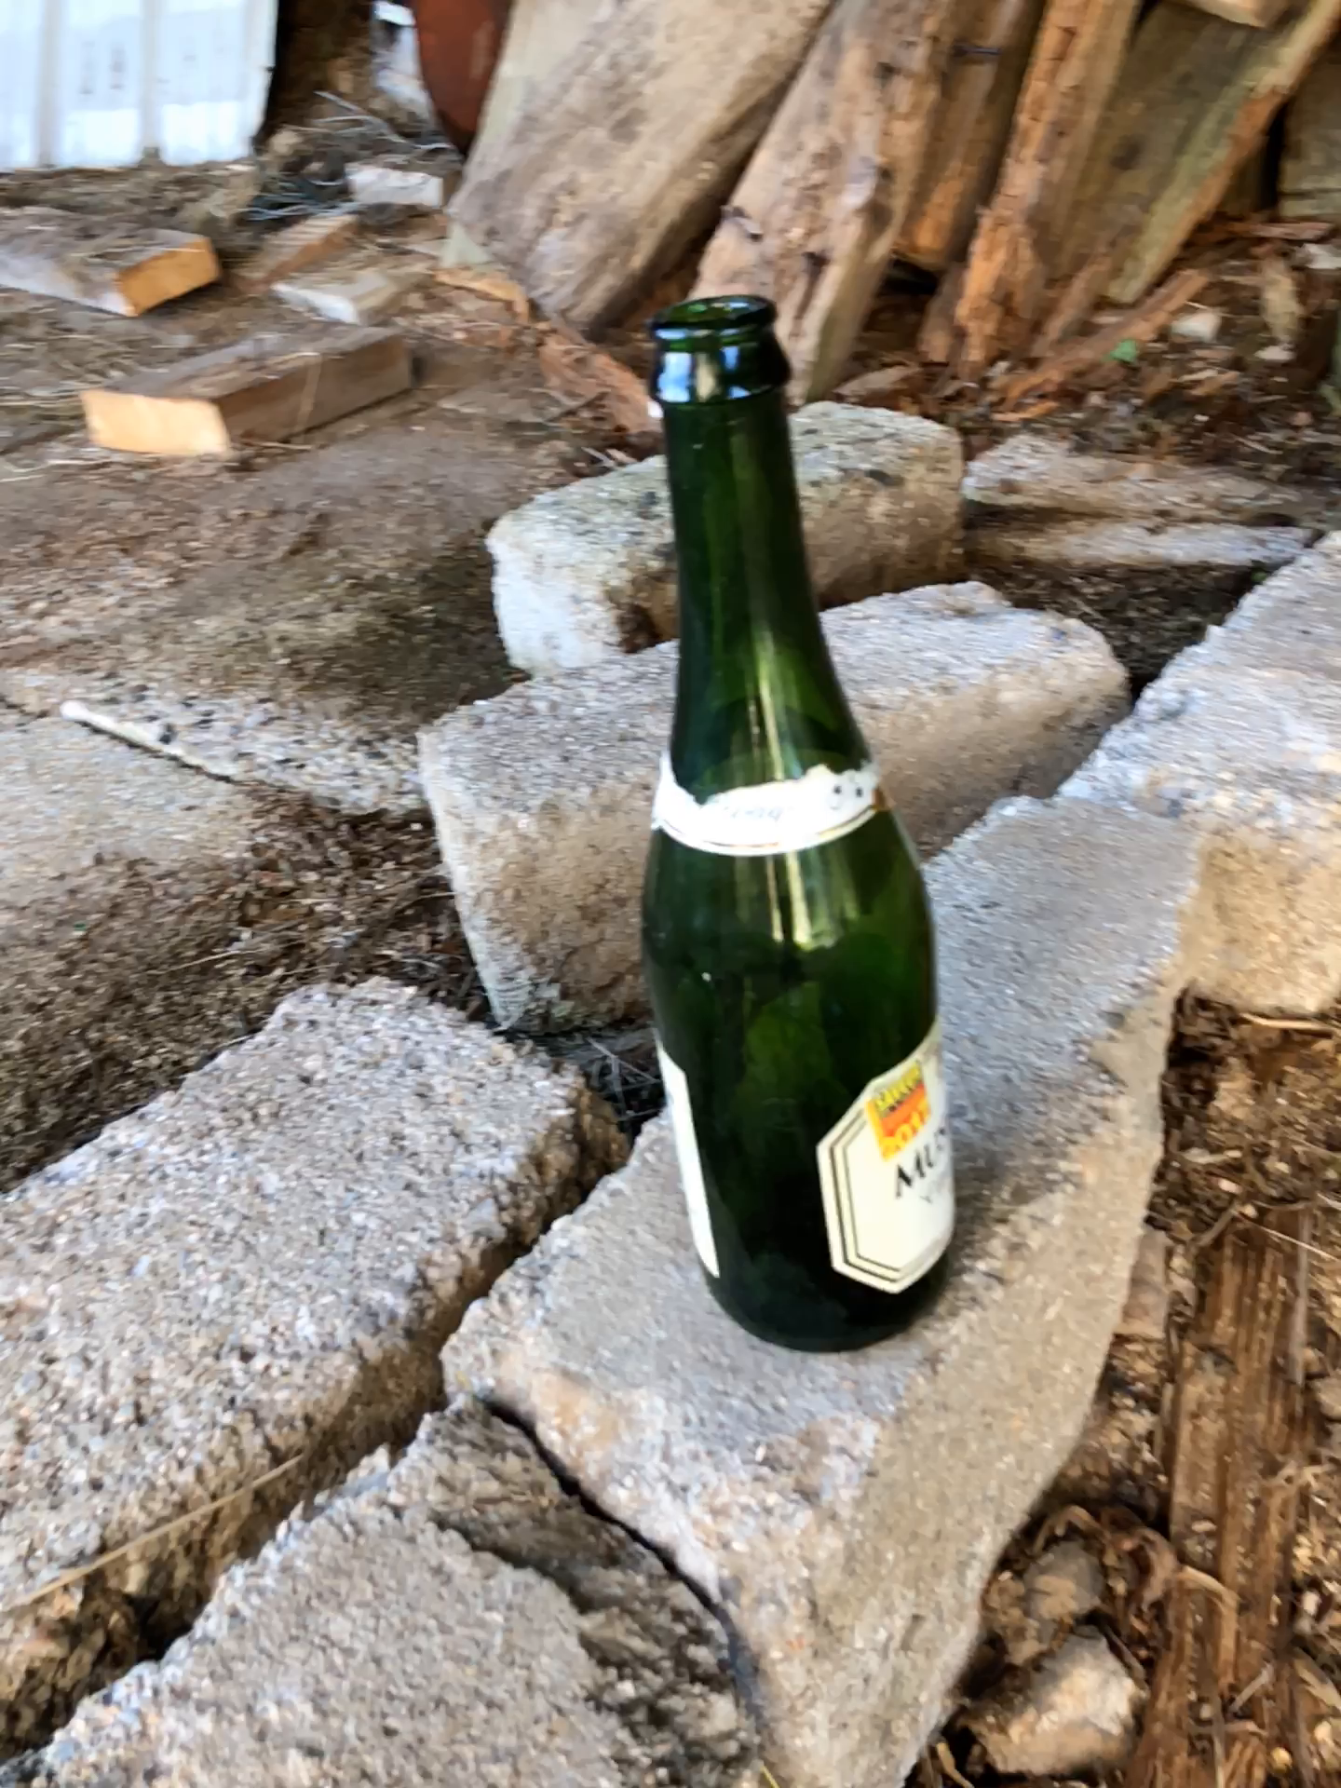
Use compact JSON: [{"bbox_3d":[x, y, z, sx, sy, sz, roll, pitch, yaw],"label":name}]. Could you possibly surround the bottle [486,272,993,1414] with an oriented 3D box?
[{"bbox_3d":[0.032,-0.002,0.392,0.090,0.288,0.091,-4,31,3],"label":"bottle"}]
